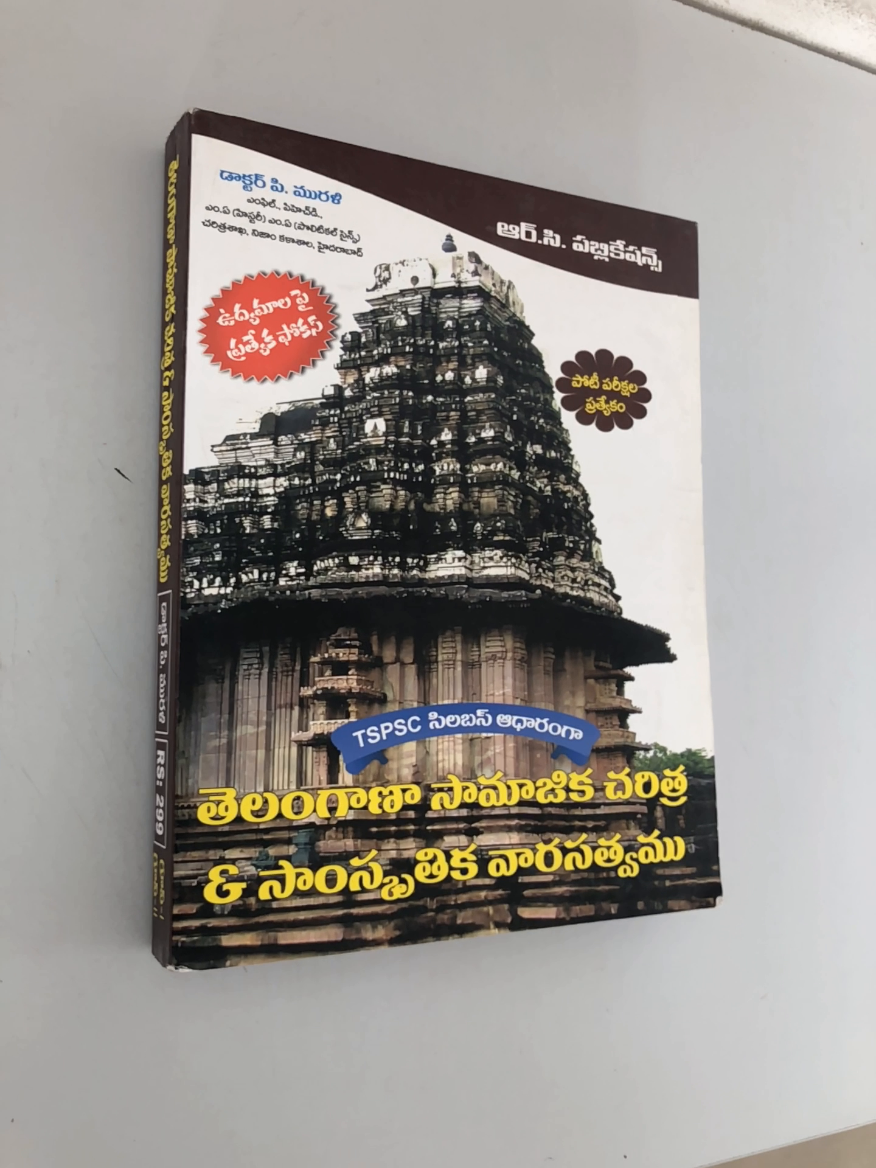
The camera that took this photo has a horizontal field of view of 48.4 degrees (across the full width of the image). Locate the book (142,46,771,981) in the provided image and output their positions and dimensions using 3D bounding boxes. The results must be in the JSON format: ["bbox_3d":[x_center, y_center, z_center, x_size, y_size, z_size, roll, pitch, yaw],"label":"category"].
[{"bbox_3d":[0.011,-0.018,0.292,0.180,0.040,0.230,3,82,-25],"label":"book"}]
